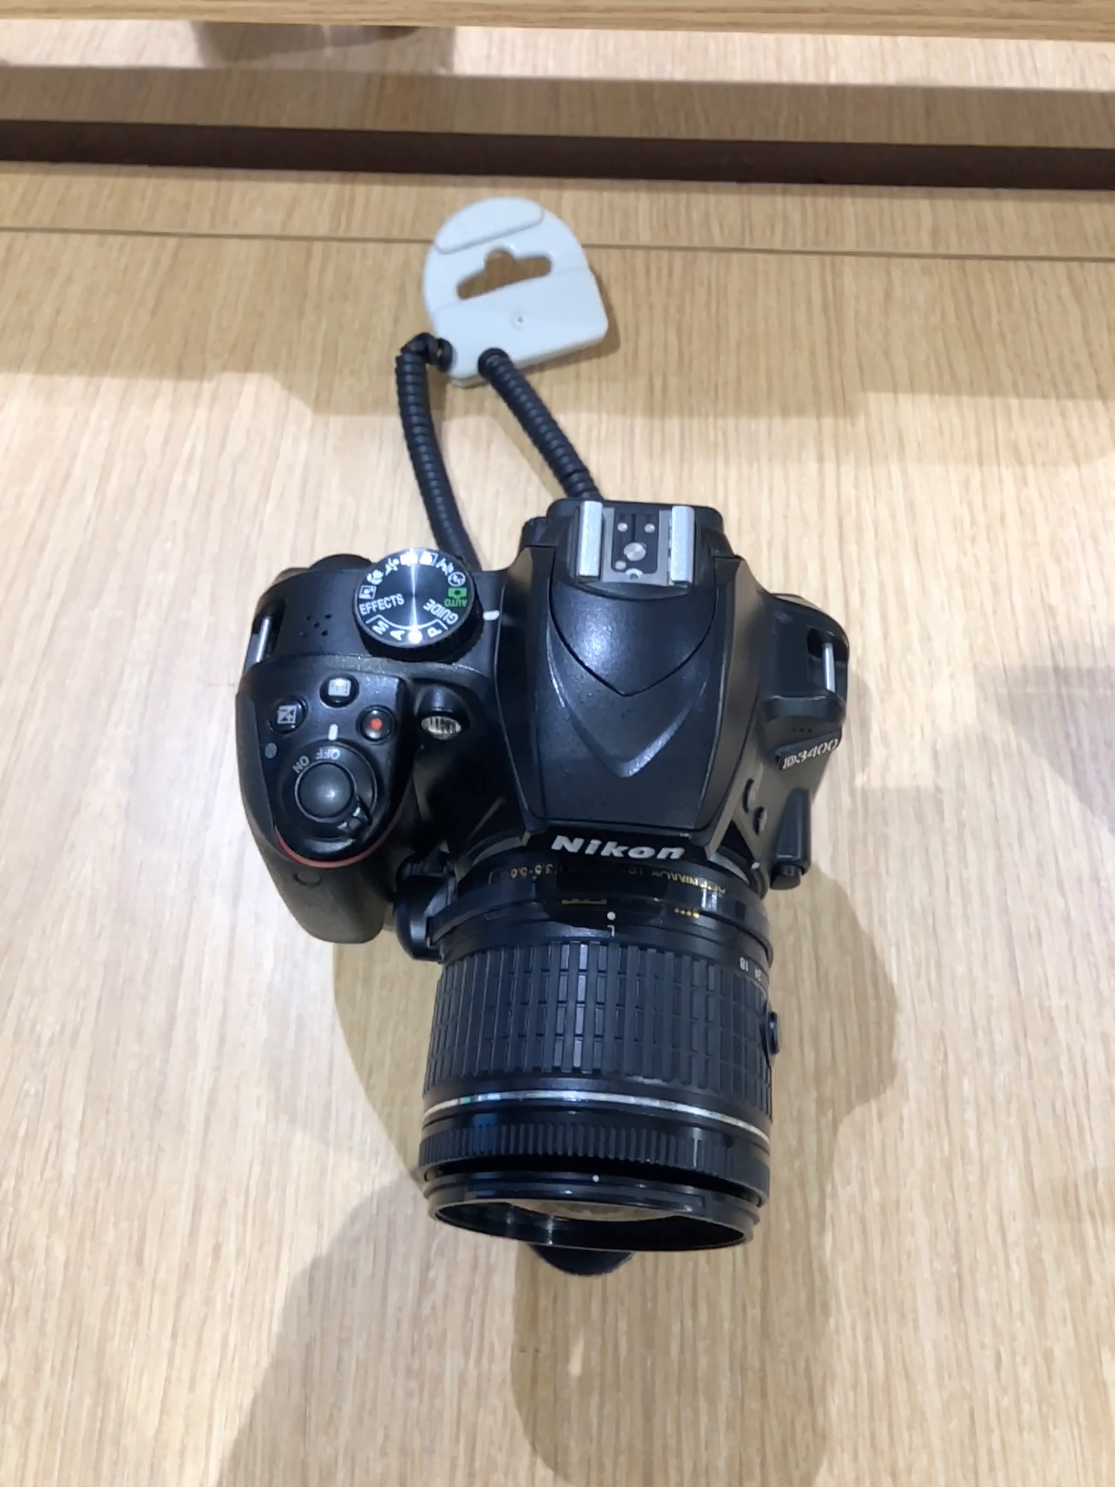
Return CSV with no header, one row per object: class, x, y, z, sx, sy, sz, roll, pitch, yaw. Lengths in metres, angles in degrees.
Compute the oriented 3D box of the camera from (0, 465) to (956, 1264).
camera,-0.010,0.025,0.233,0.133,0.084,0.120,2,61,2
